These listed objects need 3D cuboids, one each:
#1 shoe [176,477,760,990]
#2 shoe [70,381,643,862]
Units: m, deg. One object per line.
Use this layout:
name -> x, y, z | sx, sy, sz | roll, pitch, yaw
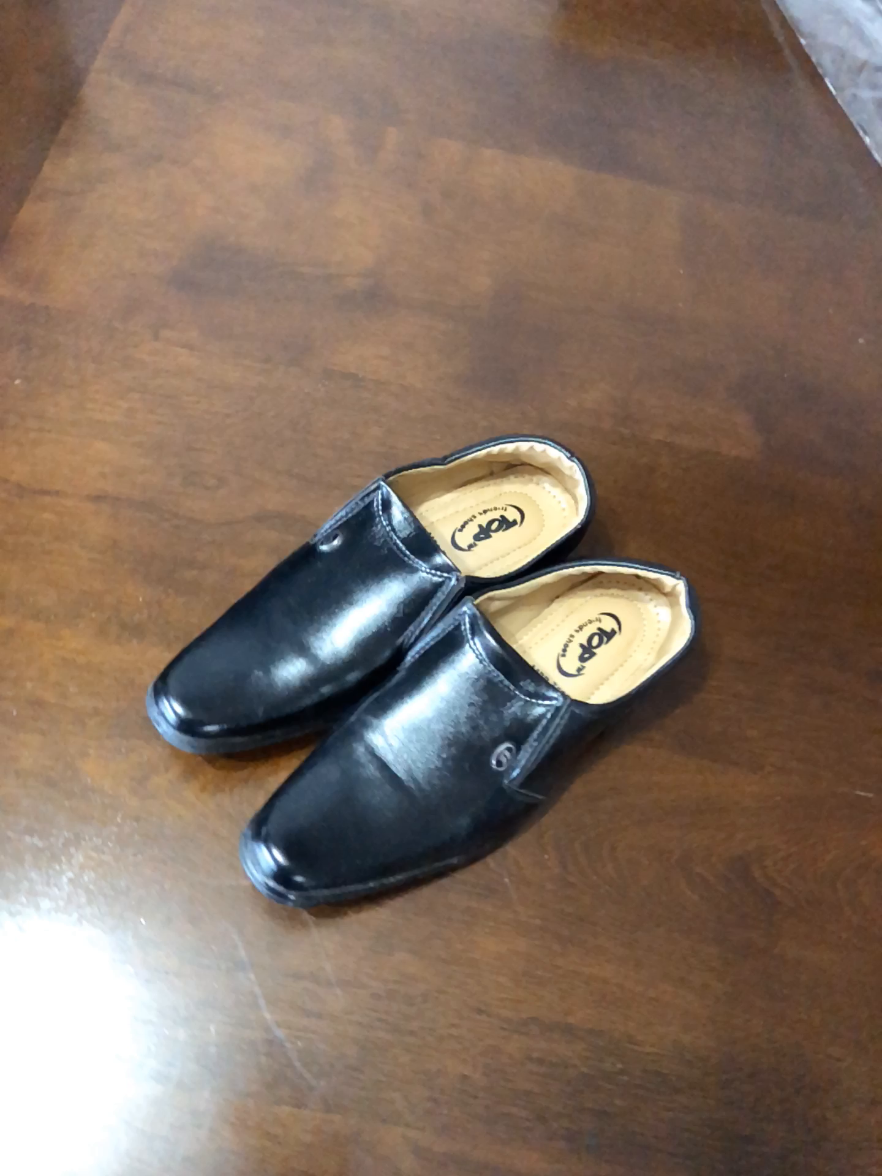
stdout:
shoe -> 0.014, 0.060, 0.431 | 0.230, 0.090, 0.090 | -33, 73, -21
shoe -> -0.032, 0.011, 0.445 | 0.230, 0.080, 0.090 | -33, 73, -21
